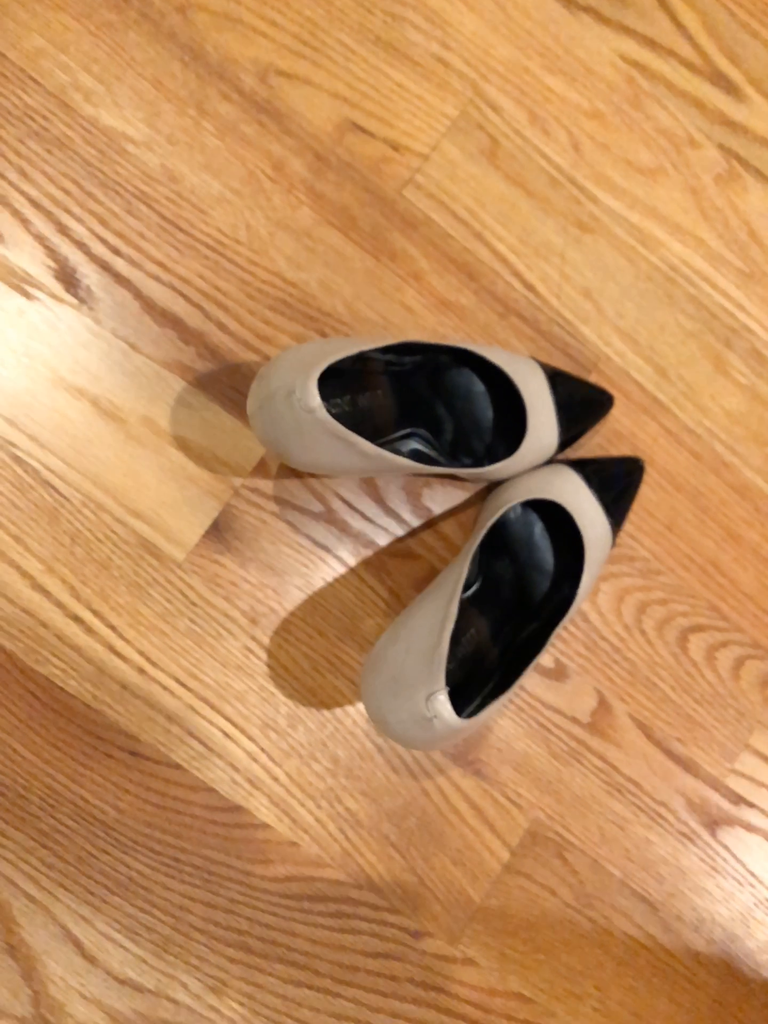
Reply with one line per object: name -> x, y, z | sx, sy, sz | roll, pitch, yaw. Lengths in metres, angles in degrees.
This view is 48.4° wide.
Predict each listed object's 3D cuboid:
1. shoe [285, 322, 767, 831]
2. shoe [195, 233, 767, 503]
shoe -> 0.081, 0.023, 0.416 | 0.235, 0.139, 0.085 | -36, 95, -14
shoe -> 0.035, -0.064, 0.411 | 0.235, 0.139, 0.085 | -6, 88, -15
